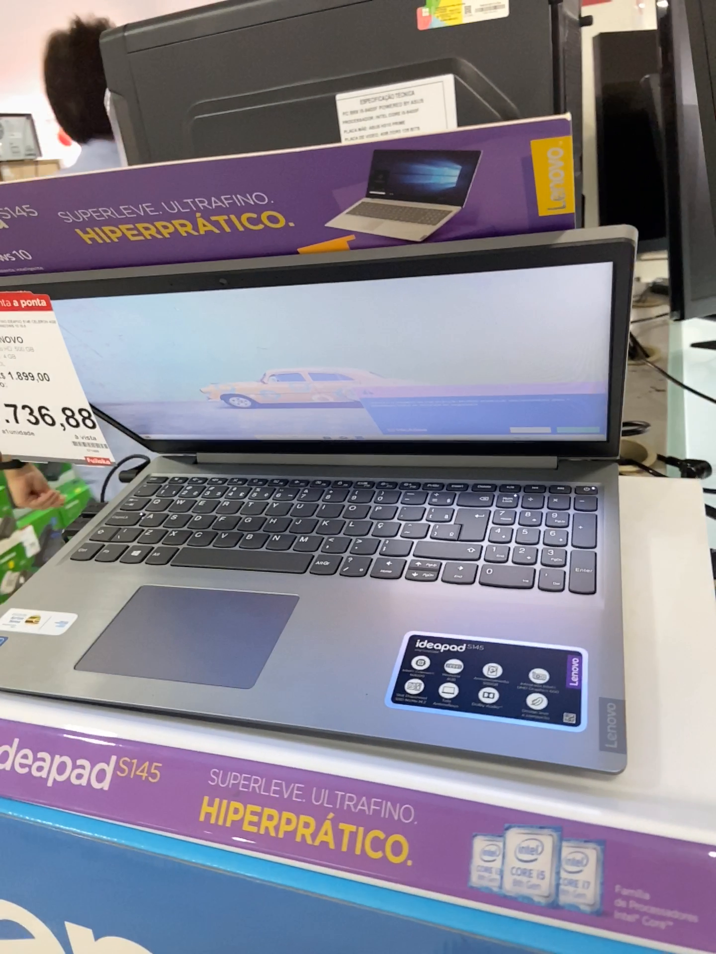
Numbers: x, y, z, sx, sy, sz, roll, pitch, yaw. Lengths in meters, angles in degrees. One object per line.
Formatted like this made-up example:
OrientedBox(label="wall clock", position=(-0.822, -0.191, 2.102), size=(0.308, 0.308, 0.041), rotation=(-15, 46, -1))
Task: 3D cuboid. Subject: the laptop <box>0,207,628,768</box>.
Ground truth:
OrientedBox(label="laptop", position=(-0.040, -0.026, 0.421), size=(0.356, 0.161, 0.245), rotation=(1, 29, 18))
